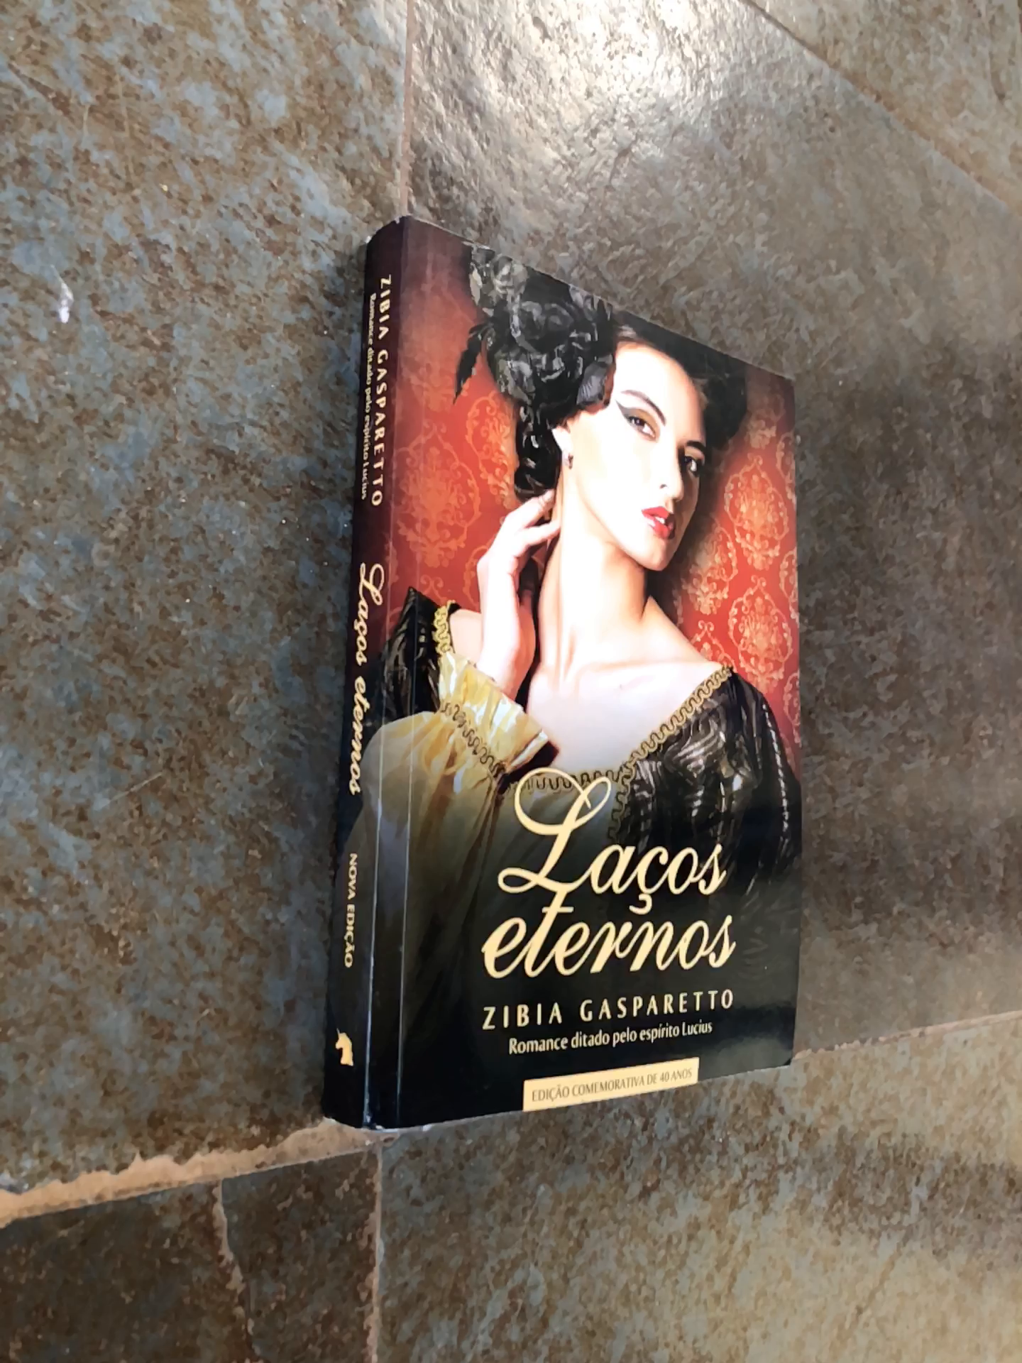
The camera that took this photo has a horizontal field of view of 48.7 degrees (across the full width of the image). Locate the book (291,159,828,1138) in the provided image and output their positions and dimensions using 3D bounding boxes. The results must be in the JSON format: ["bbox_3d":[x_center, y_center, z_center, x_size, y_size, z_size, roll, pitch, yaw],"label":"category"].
[{"bbox_3d":[0.023,-0.004,0.291,0.154,0.026,0.204,9,78,-40],"label":"book"}]
